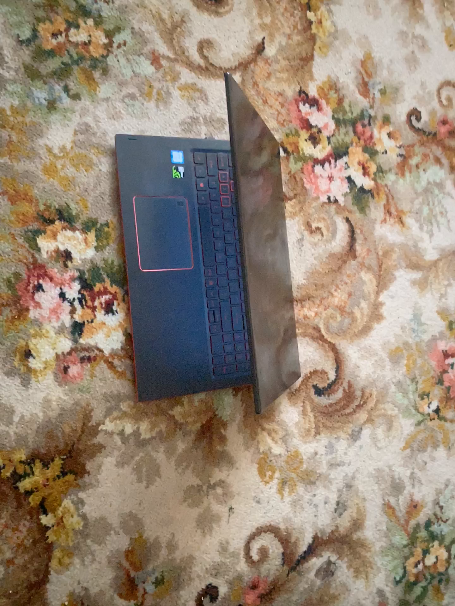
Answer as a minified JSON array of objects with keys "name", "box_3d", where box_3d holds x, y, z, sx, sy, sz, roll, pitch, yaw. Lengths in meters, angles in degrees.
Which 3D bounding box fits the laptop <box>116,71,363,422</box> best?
[{"name":"laptop","box_3d":[0.003,-0.062,0.585,0.224,0.172,0.356,-5,89,-20]}]
